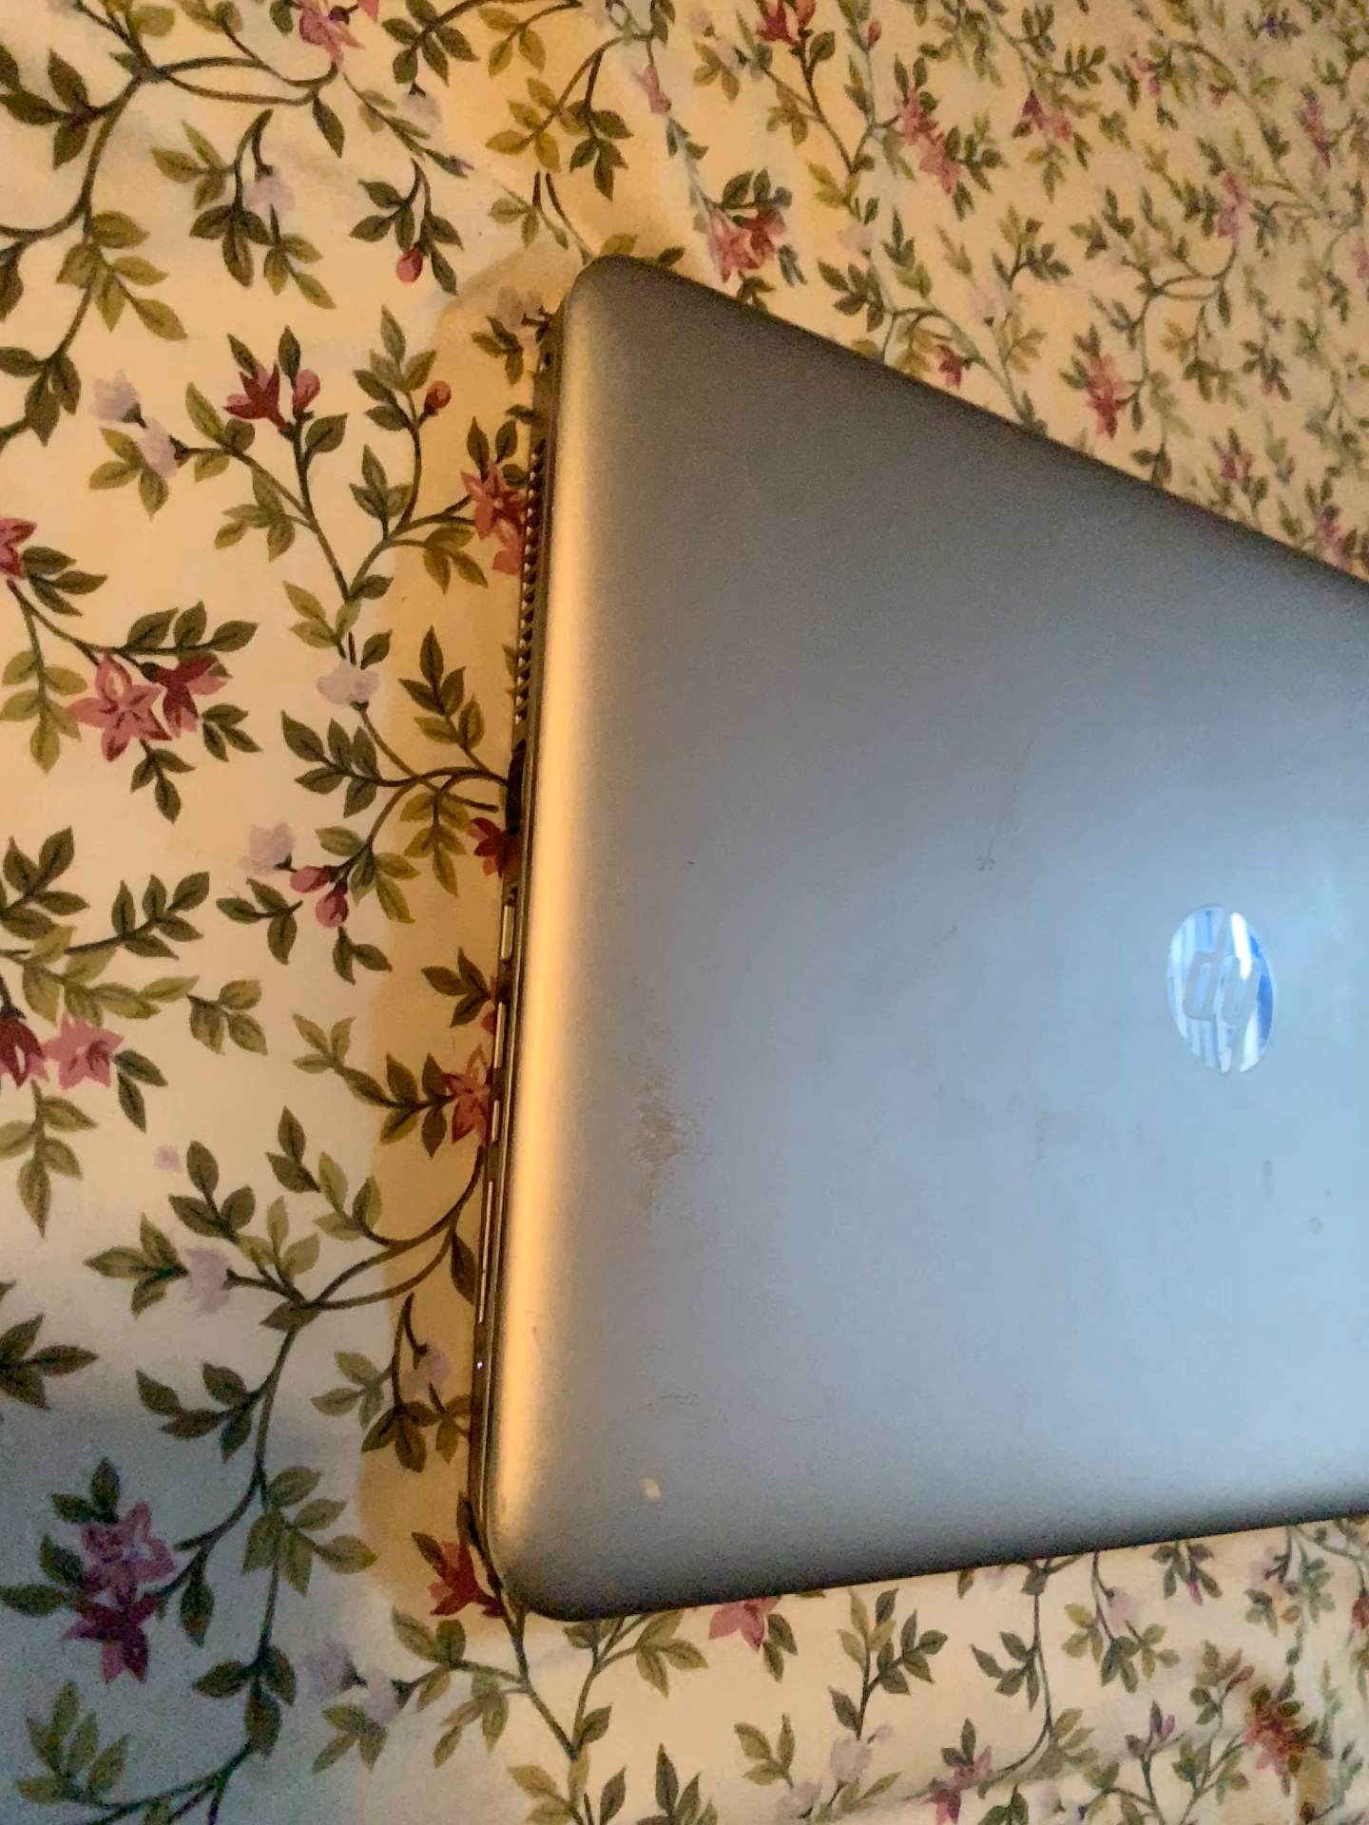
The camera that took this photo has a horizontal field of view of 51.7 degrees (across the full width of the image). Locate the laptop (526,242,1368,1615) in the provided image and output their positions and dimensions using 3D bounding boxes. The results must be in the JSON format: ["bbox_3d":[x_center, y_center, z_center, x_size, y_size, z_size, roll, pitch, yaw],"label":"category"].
[{"bbox_3d":[0.124,0.014,0.323,0.338,0.010,0.228,9,75,-32],"label":"laptop"}]
